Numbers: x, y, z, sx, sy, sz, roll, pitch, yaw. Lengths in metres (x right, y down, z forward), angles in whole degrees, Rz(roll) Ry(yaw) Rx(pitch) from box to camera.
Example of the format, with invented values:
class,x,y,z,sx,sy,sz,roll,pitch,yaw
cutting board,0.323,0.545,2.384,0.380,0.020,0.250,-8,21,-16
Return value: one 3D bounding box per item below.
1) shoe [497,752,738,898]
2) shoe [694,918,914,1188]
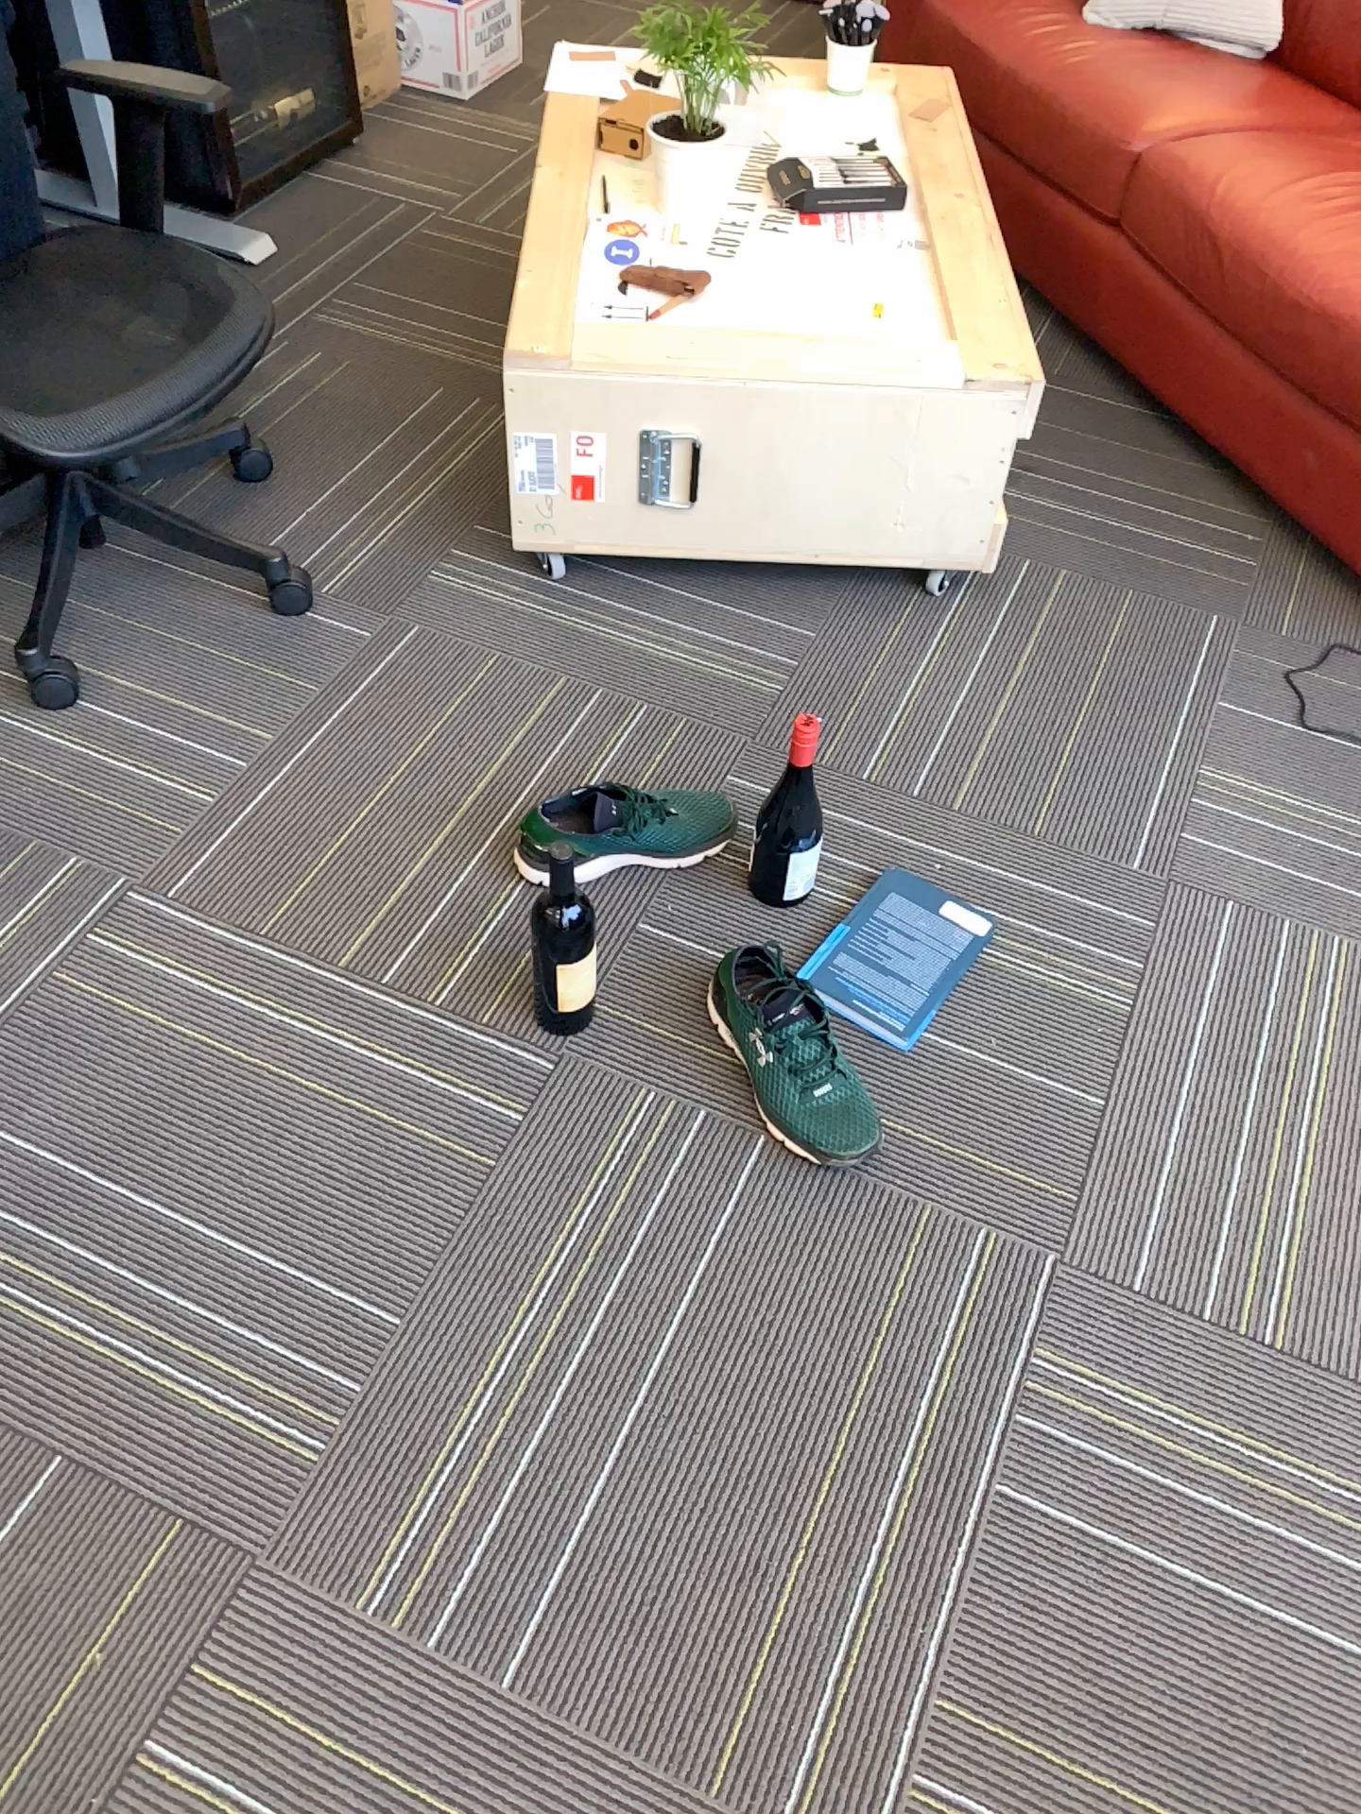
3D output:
class,x,y,z,sx,sy,sz,roll,pitch,yaw
shoe,-0.084,-0.110,1.819,0.290,0.080,0.121,-11,52,-12
shoe,0.132,0.162,1.567,0.130,0.139,0.241,-20,54,-19
